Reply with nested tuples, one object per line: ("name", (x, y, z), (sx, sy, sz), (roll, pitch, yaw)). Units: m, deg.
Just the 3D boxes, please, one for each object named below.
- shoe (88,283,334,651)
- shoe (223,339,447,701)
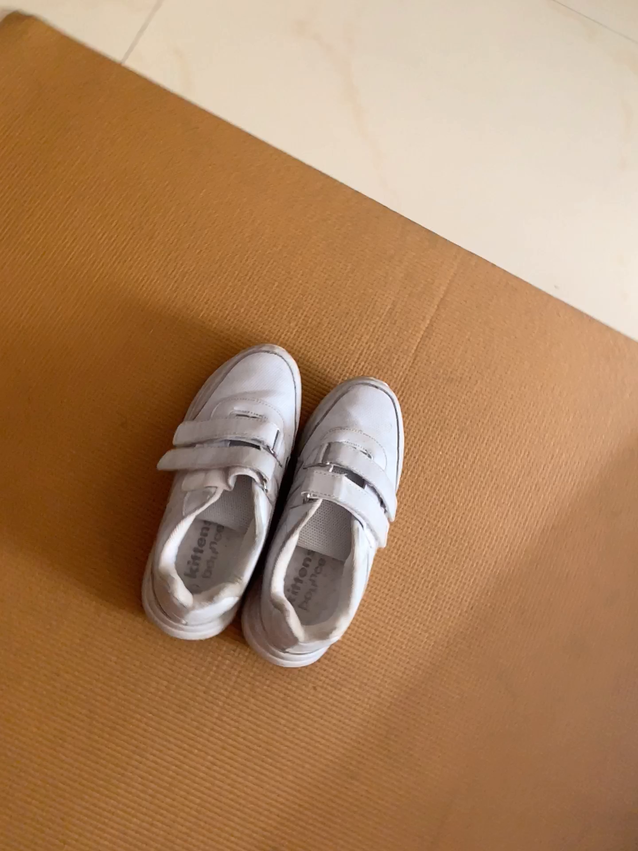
("shoe", (-0.076, 0.029, 0.500), (0.090, 0.070, 0.250), (20, 75, -4))
("shoe", (0.010, 0.071, 0.515), (0.090, 0.100, 0.240), (20, 75, -4))
